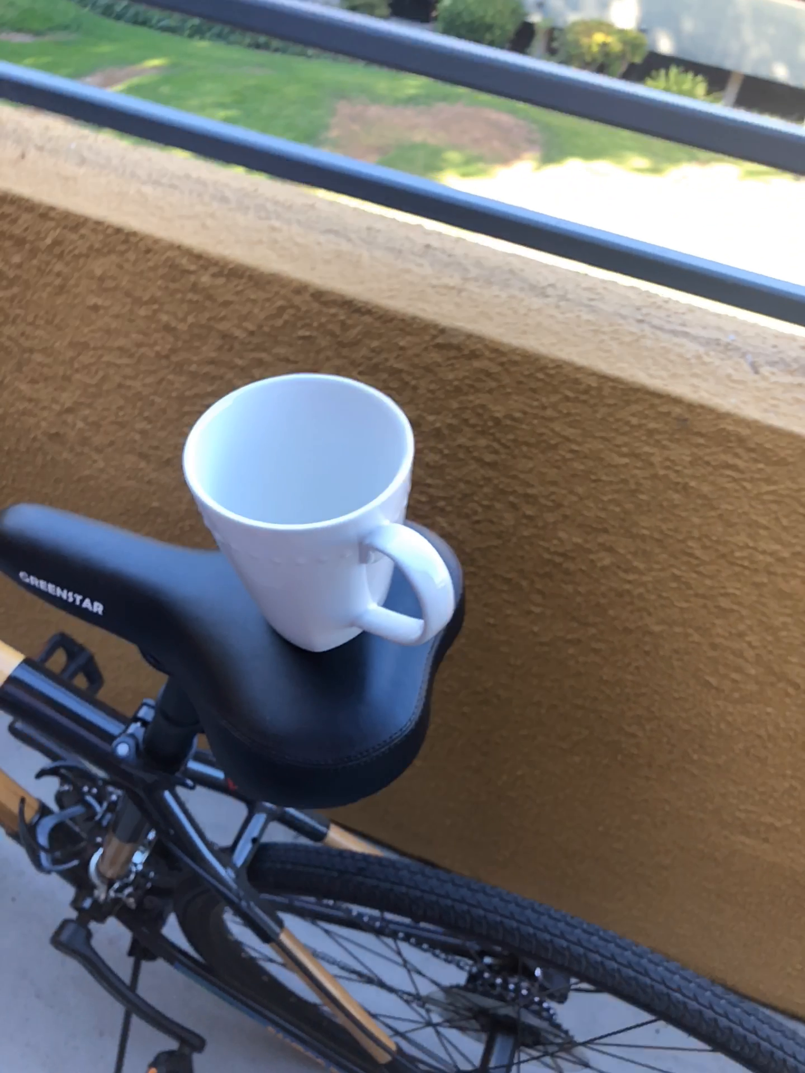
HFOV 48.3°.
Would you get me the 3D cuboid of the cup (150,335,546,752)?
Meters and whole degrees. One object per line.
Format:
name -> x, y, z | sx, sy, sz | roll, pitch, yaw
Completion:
cup -> -0.026, 0.000, 0.393 | 0.130, 0.100, 0.090 | 33, 52, 21
